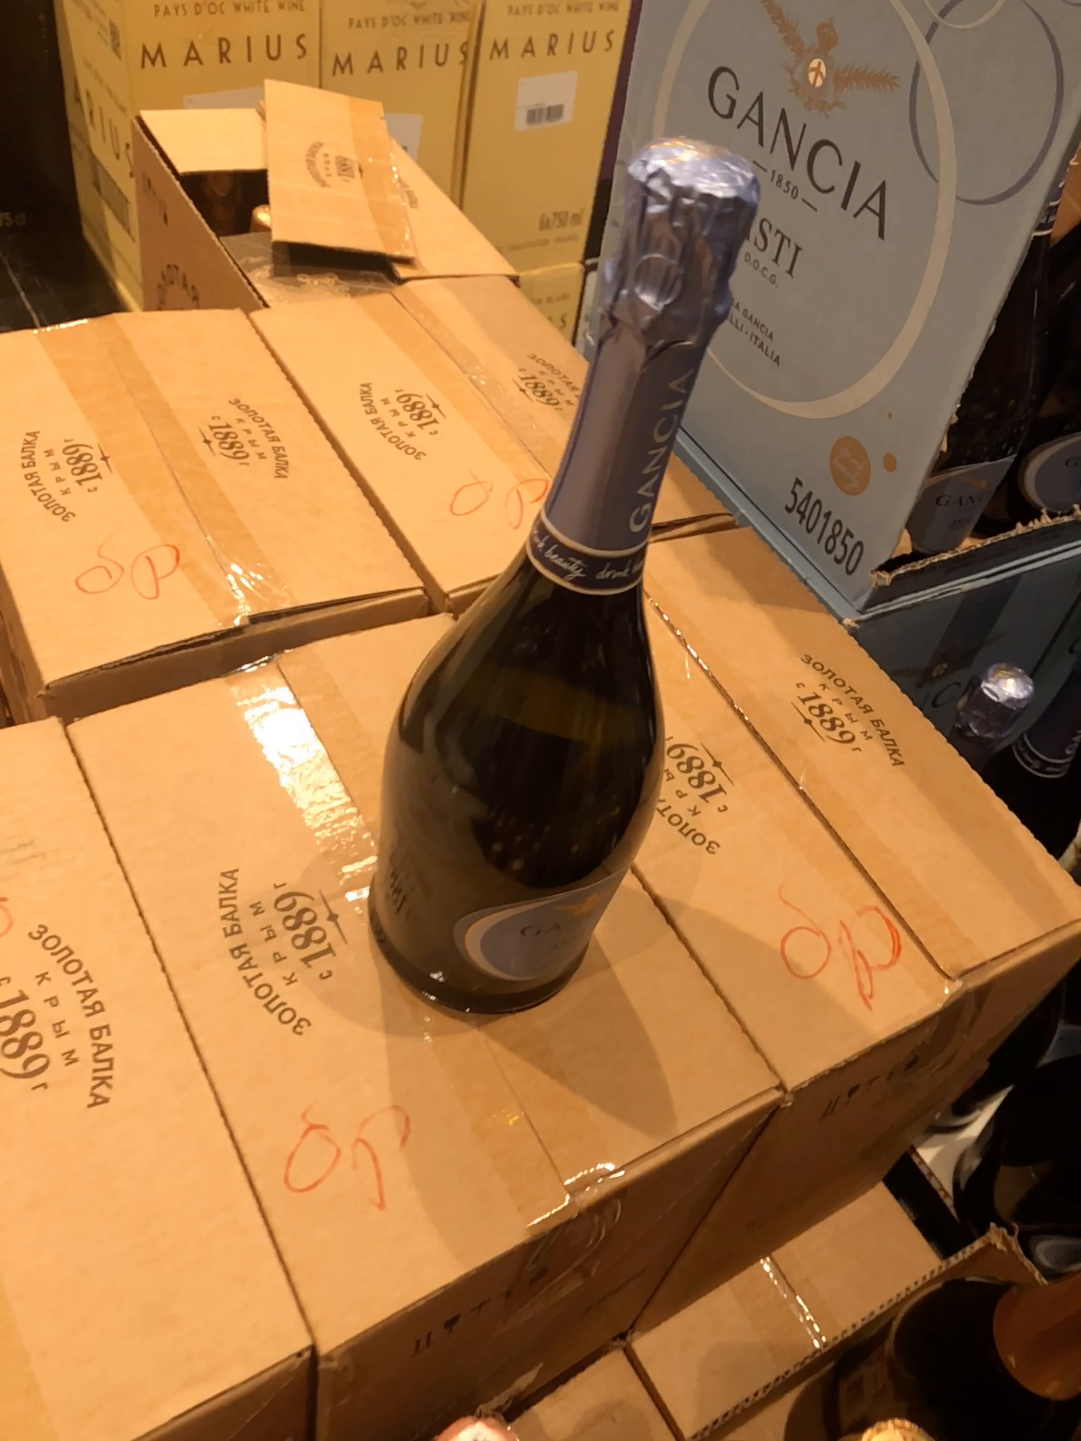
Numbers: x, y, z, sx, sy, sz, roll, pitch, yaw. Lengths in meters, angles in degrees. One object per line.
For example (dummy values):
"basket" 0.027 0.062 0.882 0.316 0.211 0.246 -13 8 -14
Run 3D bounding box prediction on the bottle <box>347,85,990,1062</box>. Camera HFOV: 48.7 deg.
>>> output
"bottle" 0.011 -0.021 0.375 0.101 0.298 0.090 -20 55 -28
